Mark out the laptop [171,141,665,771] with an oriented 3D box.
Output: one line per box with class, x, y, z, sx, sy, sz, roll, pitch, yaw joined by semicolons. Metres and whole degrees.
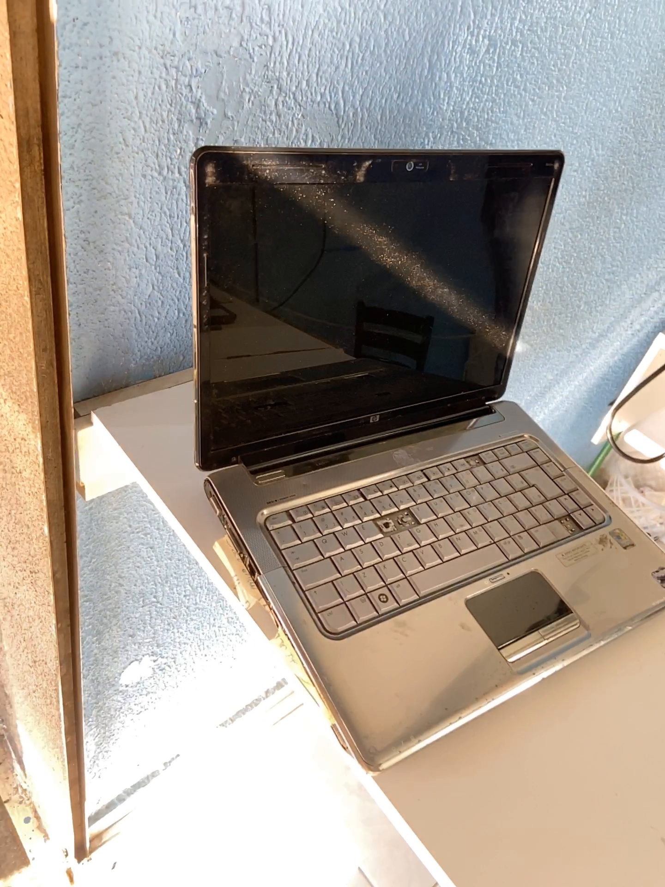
laptop;0.113;-0.035;0.516;0.353;0.233;0.329;-13;49;-31
